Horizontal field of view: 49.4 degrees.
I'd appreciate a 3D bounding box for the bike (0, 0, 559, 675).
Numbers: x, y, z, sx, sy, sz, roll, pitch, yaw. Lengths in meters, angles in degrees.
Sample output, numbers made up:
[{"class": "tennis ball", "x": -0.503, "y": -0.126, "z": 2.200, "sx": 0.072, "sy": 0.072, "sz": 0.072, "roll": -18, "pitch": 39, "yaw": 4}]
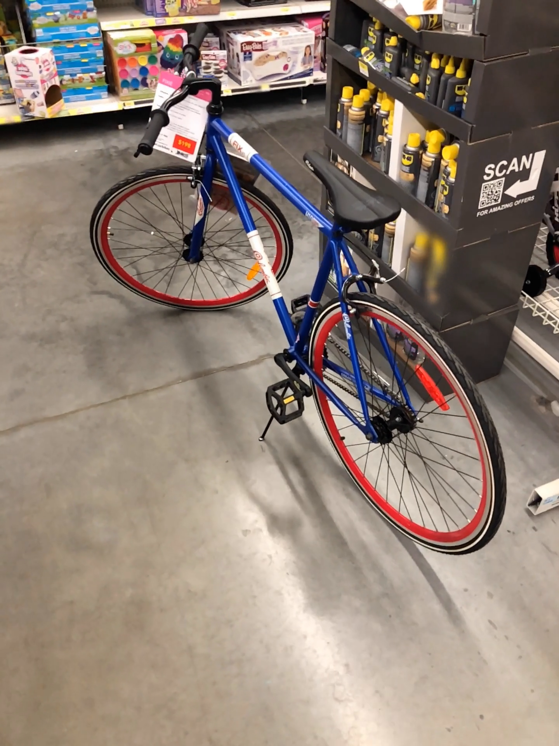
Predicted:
[{"class": "bike", "x": -0.085, "y": -0.209, "z": 1.480, "sx": 0.603, "sy": 0.937, "sz": 1.496, "roll": -32, "pitch": 56, "yaw": -30}]
